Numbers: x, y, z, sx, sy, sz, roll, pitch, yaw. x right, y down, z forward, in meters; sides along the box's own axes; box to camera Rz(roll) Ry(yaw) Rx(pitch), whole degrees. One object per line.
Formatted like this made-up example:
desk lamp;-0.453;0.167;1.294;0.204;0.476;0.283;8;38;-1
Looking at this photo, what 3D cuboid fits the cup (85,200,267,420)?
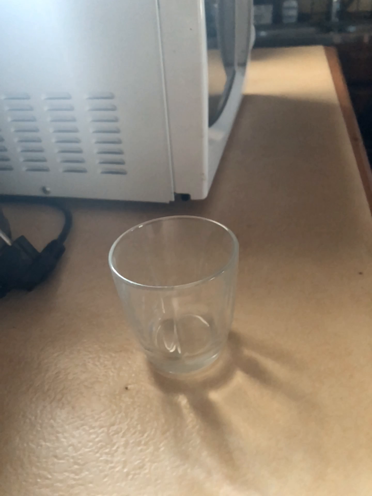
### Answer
cup;-0.005;0.031;0.240;0.070;0.080;0.070;-3;33;2
